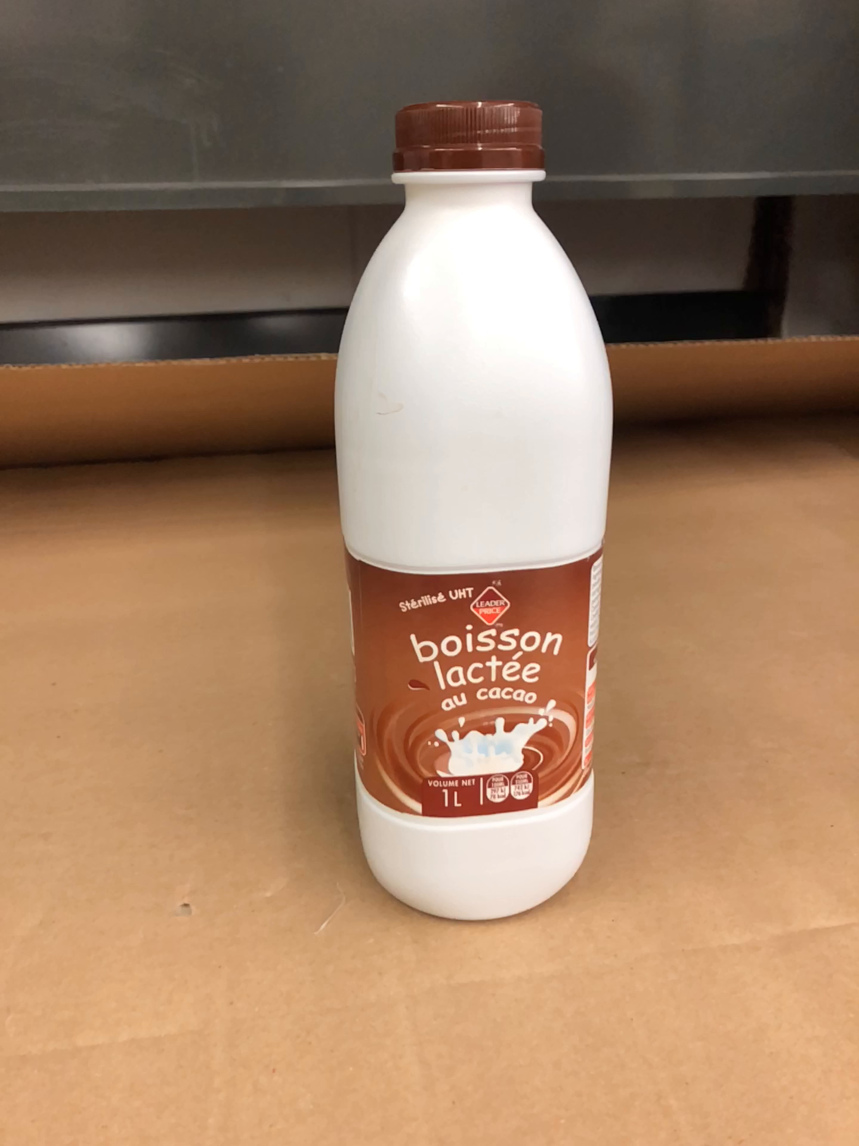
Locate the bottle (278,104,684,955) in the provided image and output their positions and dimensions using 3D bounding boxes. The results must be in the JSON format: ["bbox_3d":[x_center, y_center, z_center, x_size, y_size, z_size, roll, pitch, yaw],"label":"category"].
[{"bbox_3d":[0.010,-0.010,0.296,0.090,0.239,0.080,-5,23,-10],"label":"bottle"}]
